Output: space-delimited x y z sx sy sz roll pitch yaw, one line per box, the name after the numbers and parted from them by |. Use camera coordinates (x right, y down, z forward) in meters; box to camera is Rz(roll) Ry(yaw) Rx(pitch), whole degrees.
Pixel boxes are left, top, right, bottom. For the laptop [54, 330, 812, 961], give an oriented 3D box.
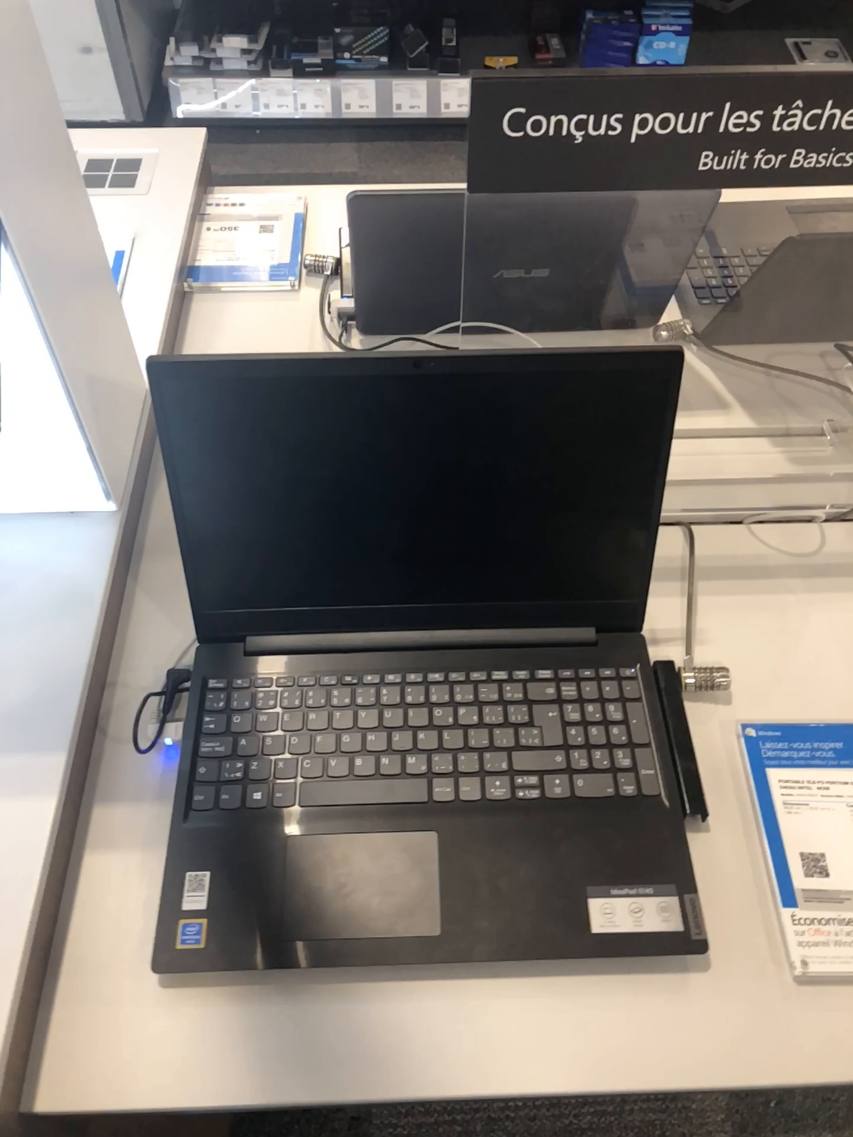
-0.002 0.046 0.602 0.345 0.213 0.323 -1 55 -1 | laptop
